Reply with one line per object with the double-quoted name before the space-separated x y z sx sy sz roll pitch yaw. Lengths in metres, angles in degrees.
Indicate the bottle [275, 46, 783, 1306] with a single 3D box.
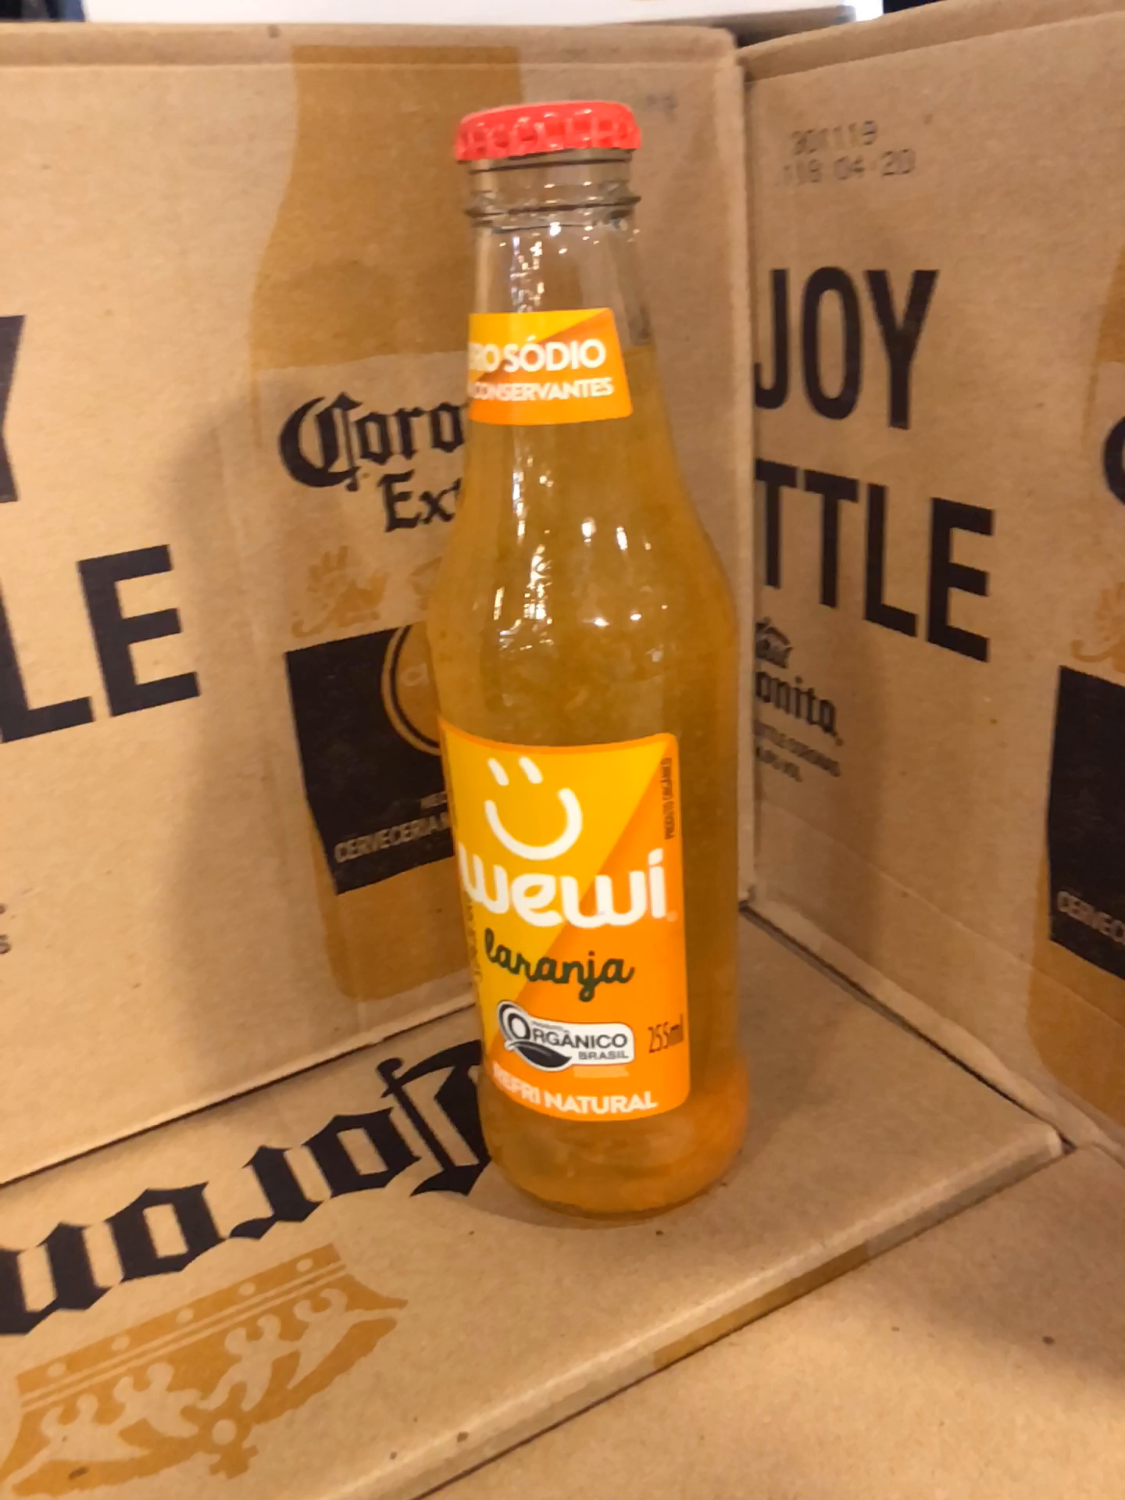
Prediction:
"bottle" 0.004 -0.006 0.234 0.060 0.209 0.060 -3 22 1
